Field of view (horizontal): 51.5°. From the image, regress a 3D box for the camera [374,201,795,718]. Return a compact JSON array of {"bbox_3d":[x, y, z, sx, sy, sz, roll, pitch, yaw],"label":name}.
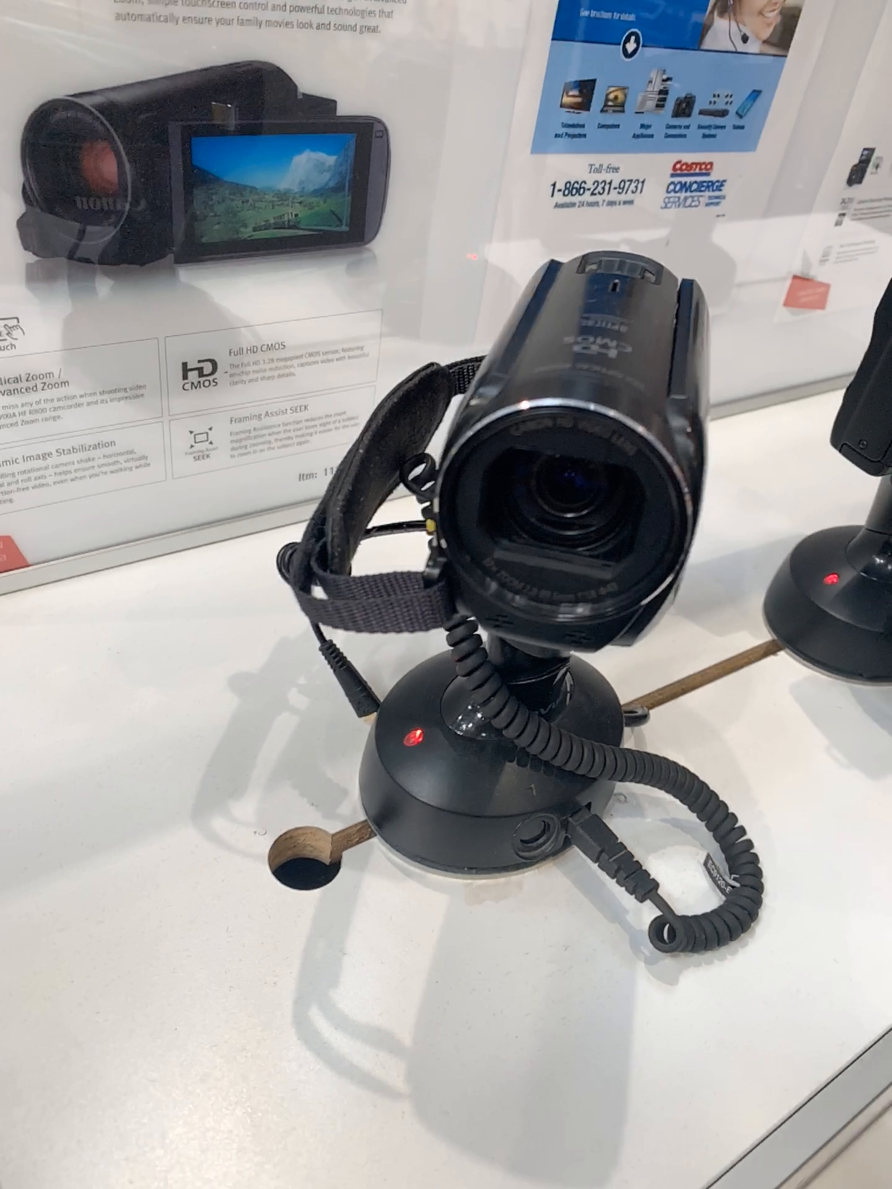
[{"bbox_3d":[0.030,-0.038,0.198,0.058,0.054,0.114,14,36,5],"label":"camera"}]
